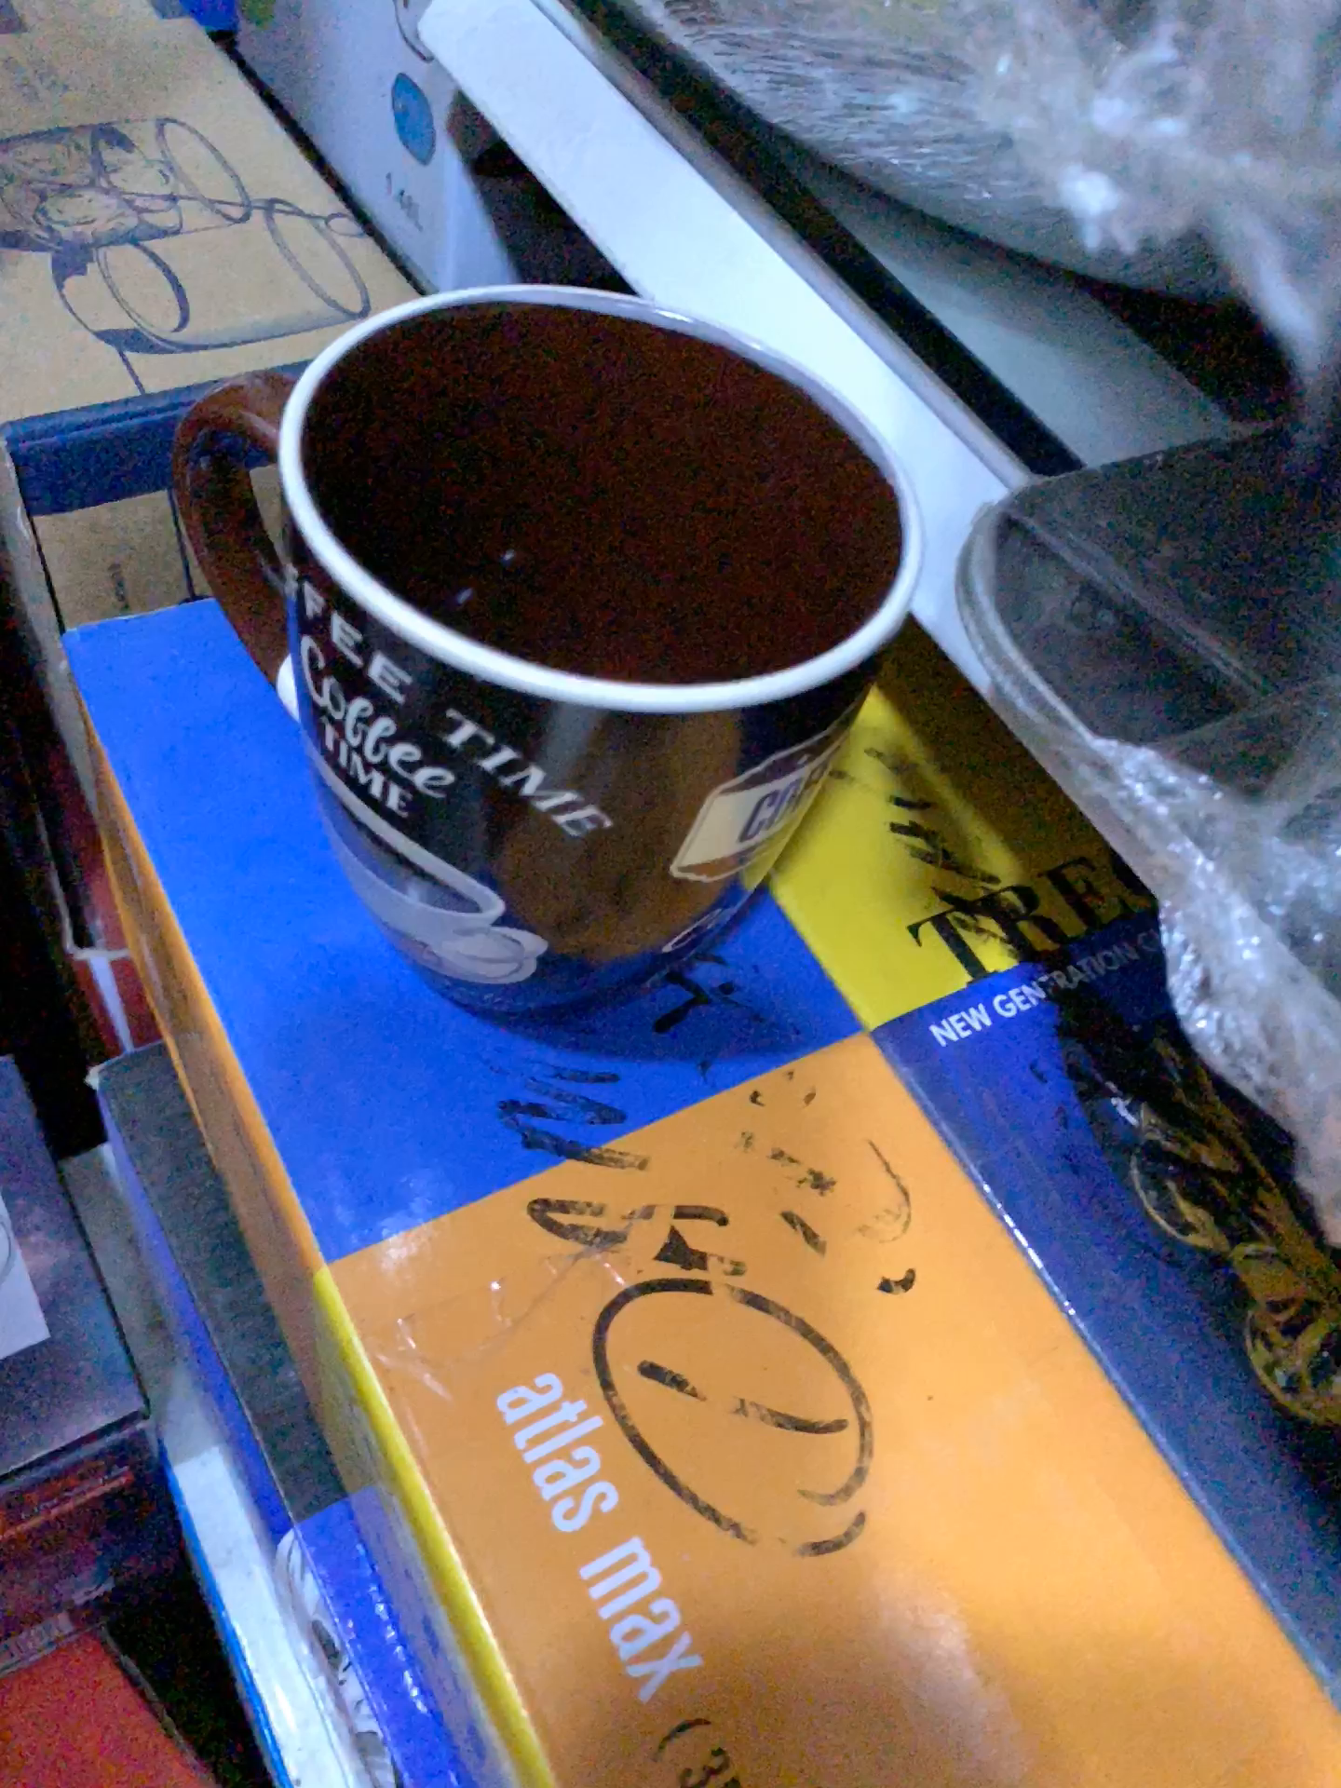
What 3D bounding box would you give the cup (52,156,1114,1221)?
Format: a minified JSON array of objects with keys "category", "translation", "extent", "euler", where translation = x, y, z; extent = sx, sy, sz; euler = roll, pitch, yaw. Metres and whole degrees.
[{"category":"cup","translation":[-0.017,-0.031,0.197],"extent":[0.110,0.079,0.070],"euler":[41,56,19]}]
